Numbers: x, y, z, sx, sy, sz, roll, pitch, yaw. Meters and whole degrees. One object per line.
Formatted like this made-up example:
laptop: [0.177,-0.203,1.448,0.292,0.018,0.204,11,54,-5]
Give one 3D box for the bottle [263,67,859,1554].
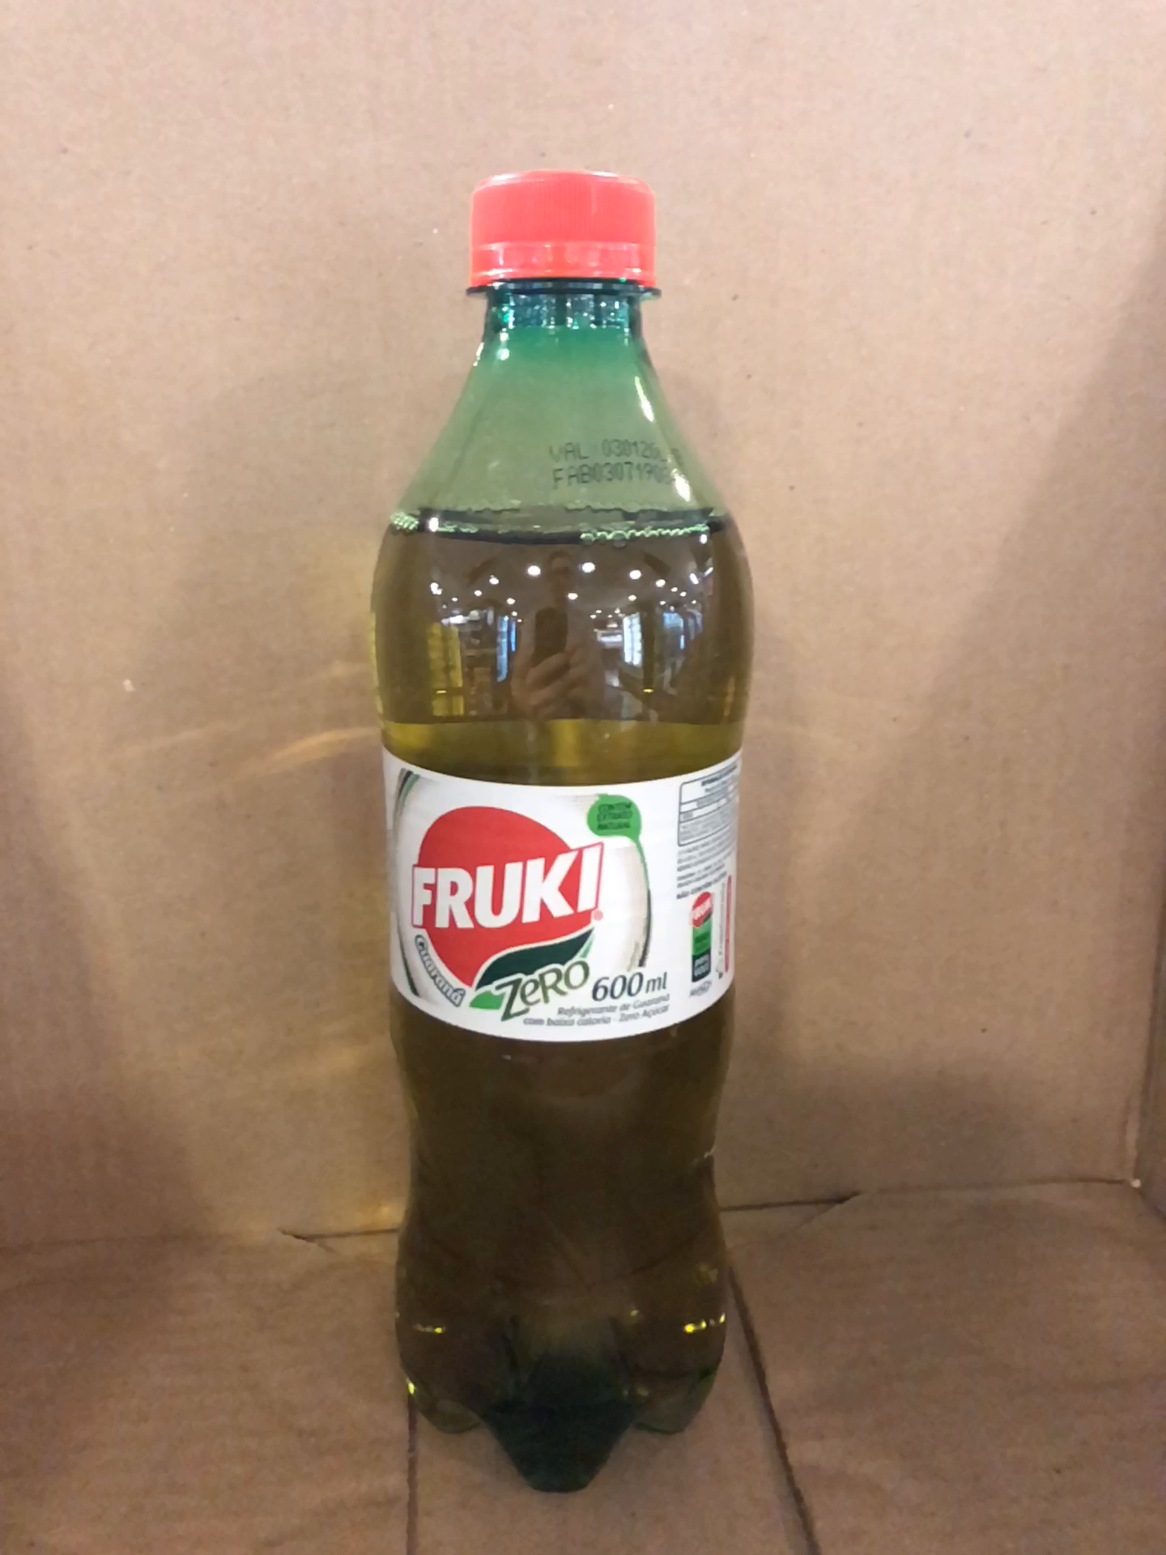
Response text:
bottle: [0.002,0.012,0.241,0.080,0.239,0.080,0,15,0]
